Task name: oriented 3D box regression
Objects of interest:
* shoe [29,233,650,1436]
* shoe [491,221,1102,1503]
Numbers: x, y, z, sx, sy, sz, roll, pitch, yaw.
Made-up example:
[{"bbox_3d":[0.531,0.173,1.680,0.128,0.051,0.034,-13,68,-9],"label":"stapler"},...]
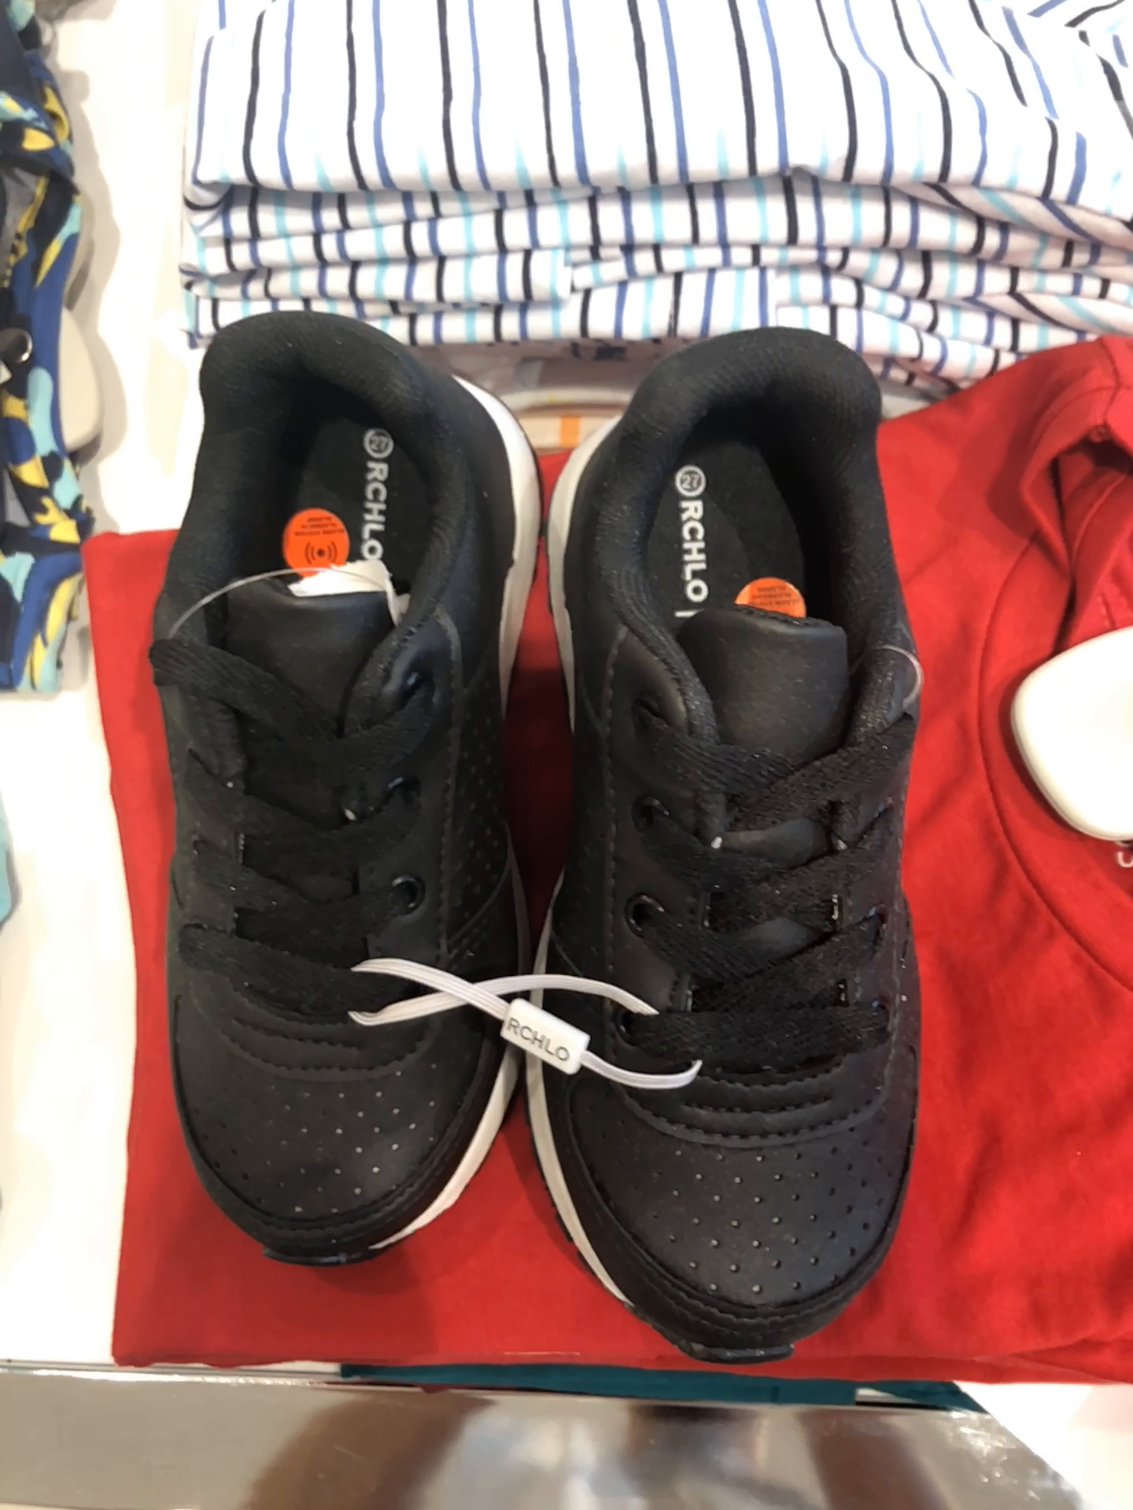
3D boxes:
[{"bbox_3d":[-0.033,0.012,0.234,0.080,0.080,0.180,4,83,-2],"label":"shoe"},{"bbox_3d":[0.029,0.015,0.234,0.080,0.086,0.190,0,79,-6],"label":"shoe"}]
